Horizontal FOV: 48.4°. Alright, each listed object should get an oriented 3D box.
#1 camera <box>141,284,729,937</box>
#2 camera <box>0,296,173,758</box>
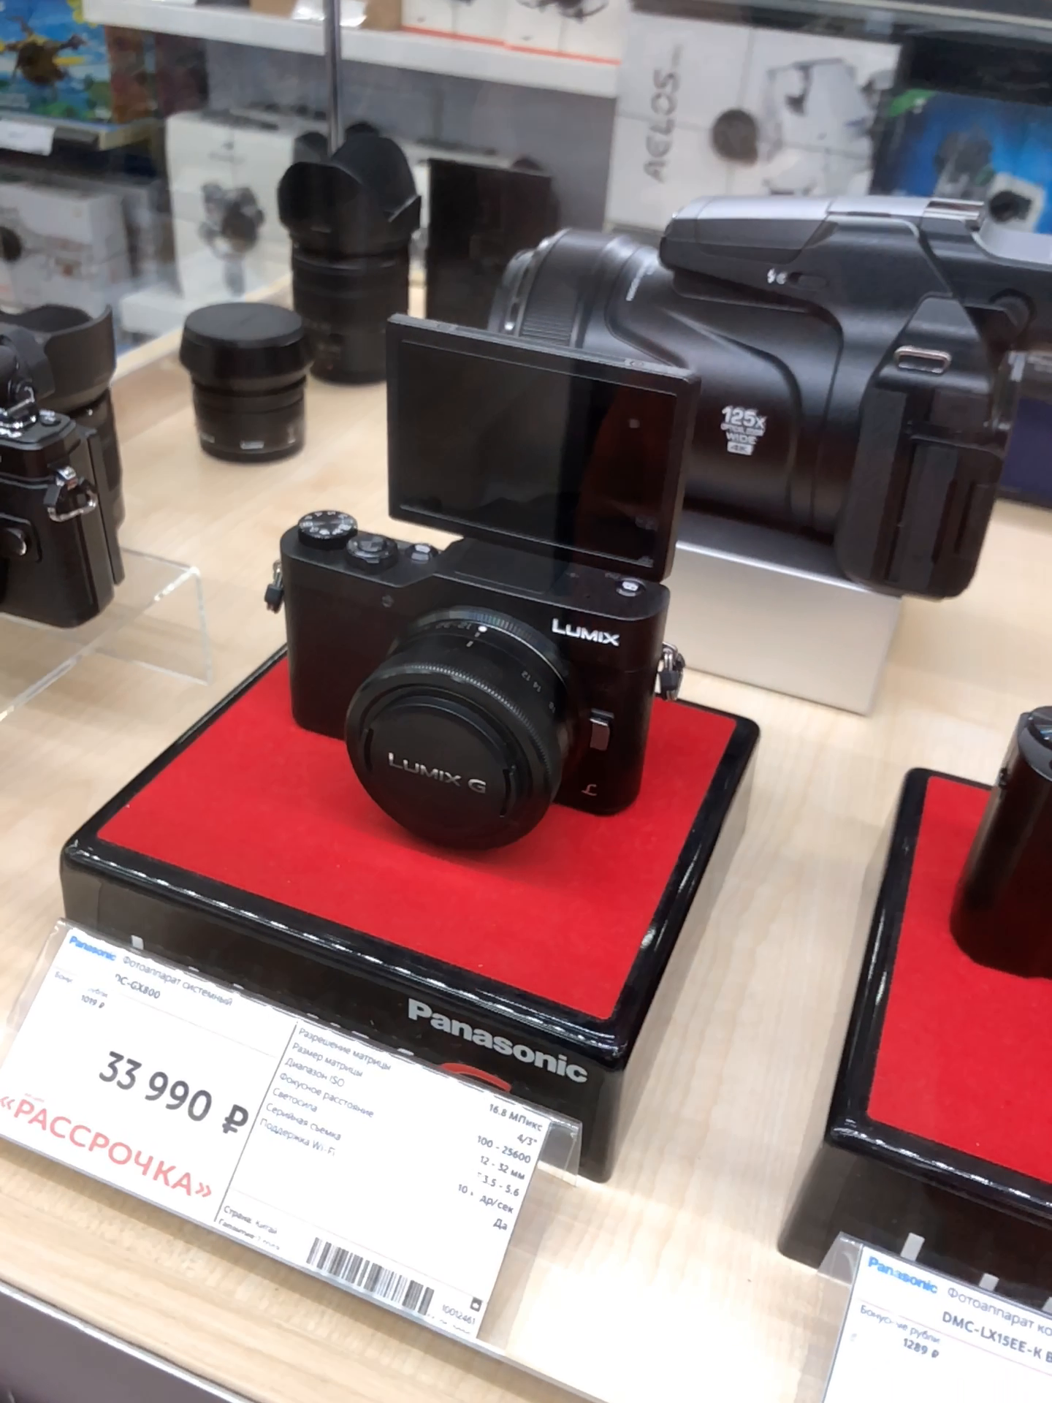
[{"bbox_3d":[-0.019,-0.024,0.286,0.108,0.120,0.070,14,36,13],"label":"camera"},{"bbox_3d":[-0.187,-0.058,0.351,0.108,0.080,0.103,16,37,16],"label":"camera"}]
